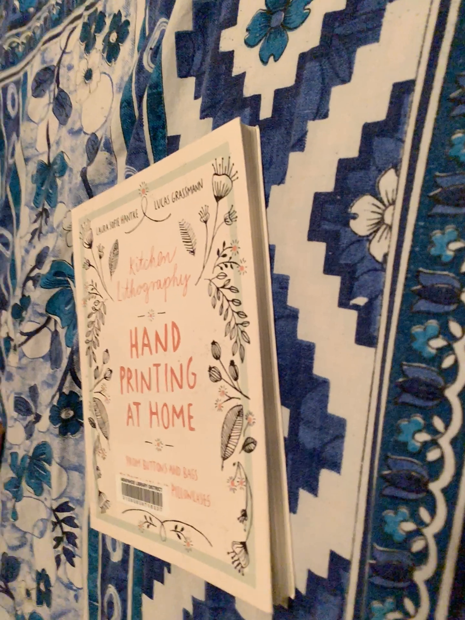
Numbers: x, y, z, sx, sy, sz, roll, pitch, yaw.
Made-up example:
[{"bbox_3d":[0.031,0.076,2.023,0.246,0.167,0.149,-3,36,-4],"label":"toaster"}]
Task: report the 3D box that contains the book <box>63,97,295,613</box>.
[{"bbox_3d":[-0.046,0.023,0.273,0.171,0.020,0.220,-9,83,46],"label":"book"}]
